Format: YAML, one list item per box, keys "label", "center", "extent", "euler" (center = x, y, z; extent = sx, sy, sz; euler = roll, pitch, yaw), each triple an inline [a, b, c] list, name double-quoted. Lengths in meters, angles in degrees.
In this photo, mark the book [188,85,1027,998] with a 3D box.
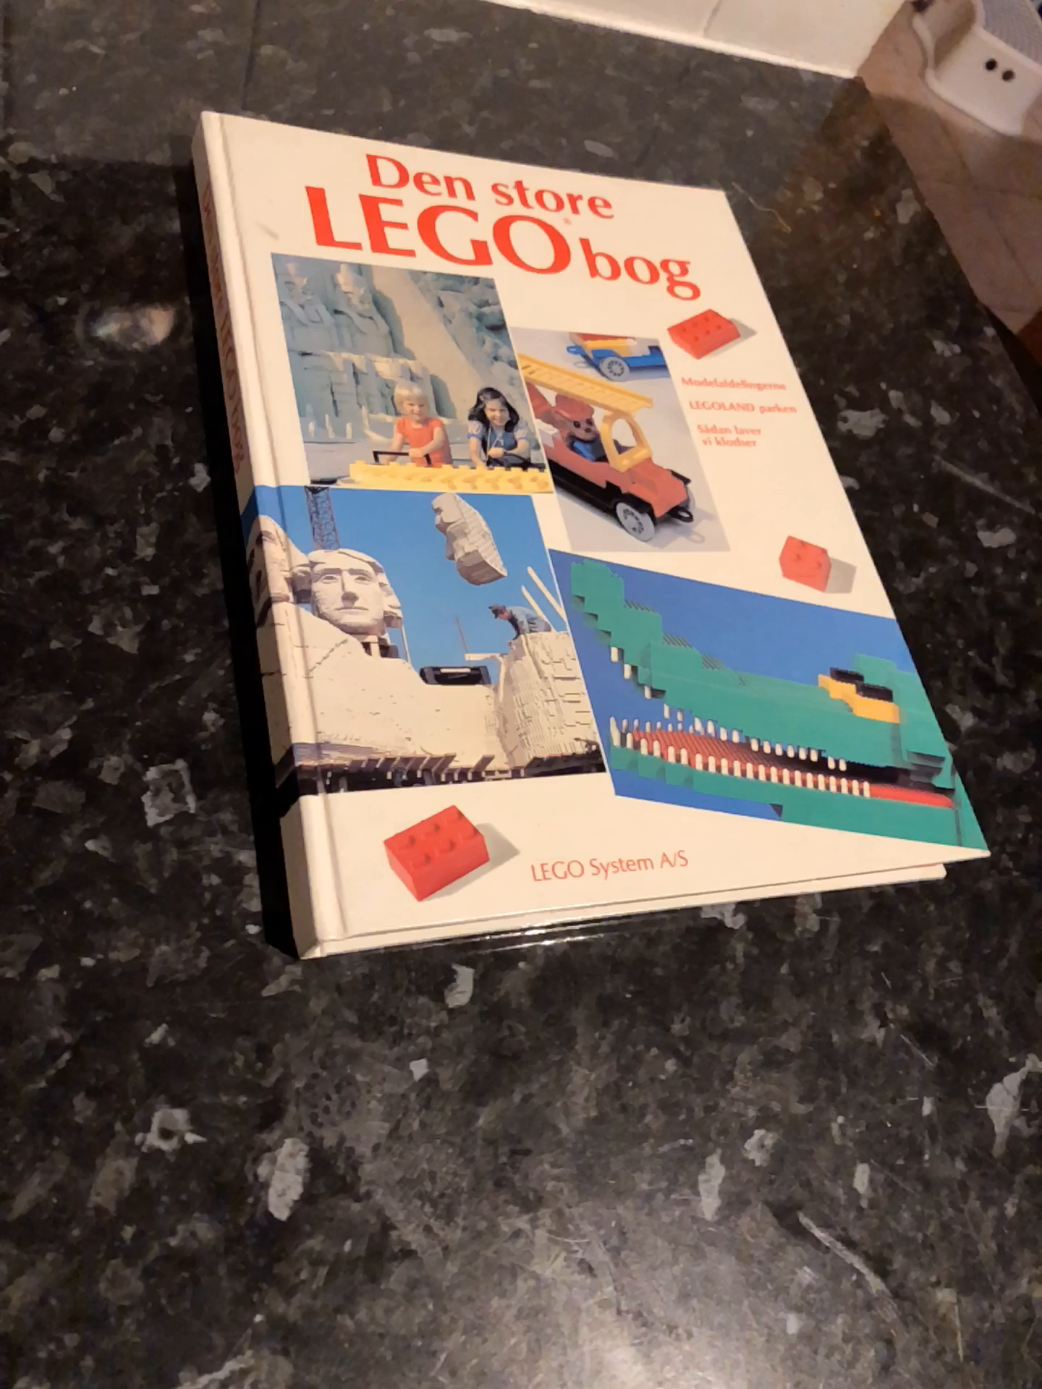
- label: "book"
  center: [0.017, -0.066, 0.368]
  extent: [0.210, 0.030, 0.291]
  euler: [-2, 63, -24]
